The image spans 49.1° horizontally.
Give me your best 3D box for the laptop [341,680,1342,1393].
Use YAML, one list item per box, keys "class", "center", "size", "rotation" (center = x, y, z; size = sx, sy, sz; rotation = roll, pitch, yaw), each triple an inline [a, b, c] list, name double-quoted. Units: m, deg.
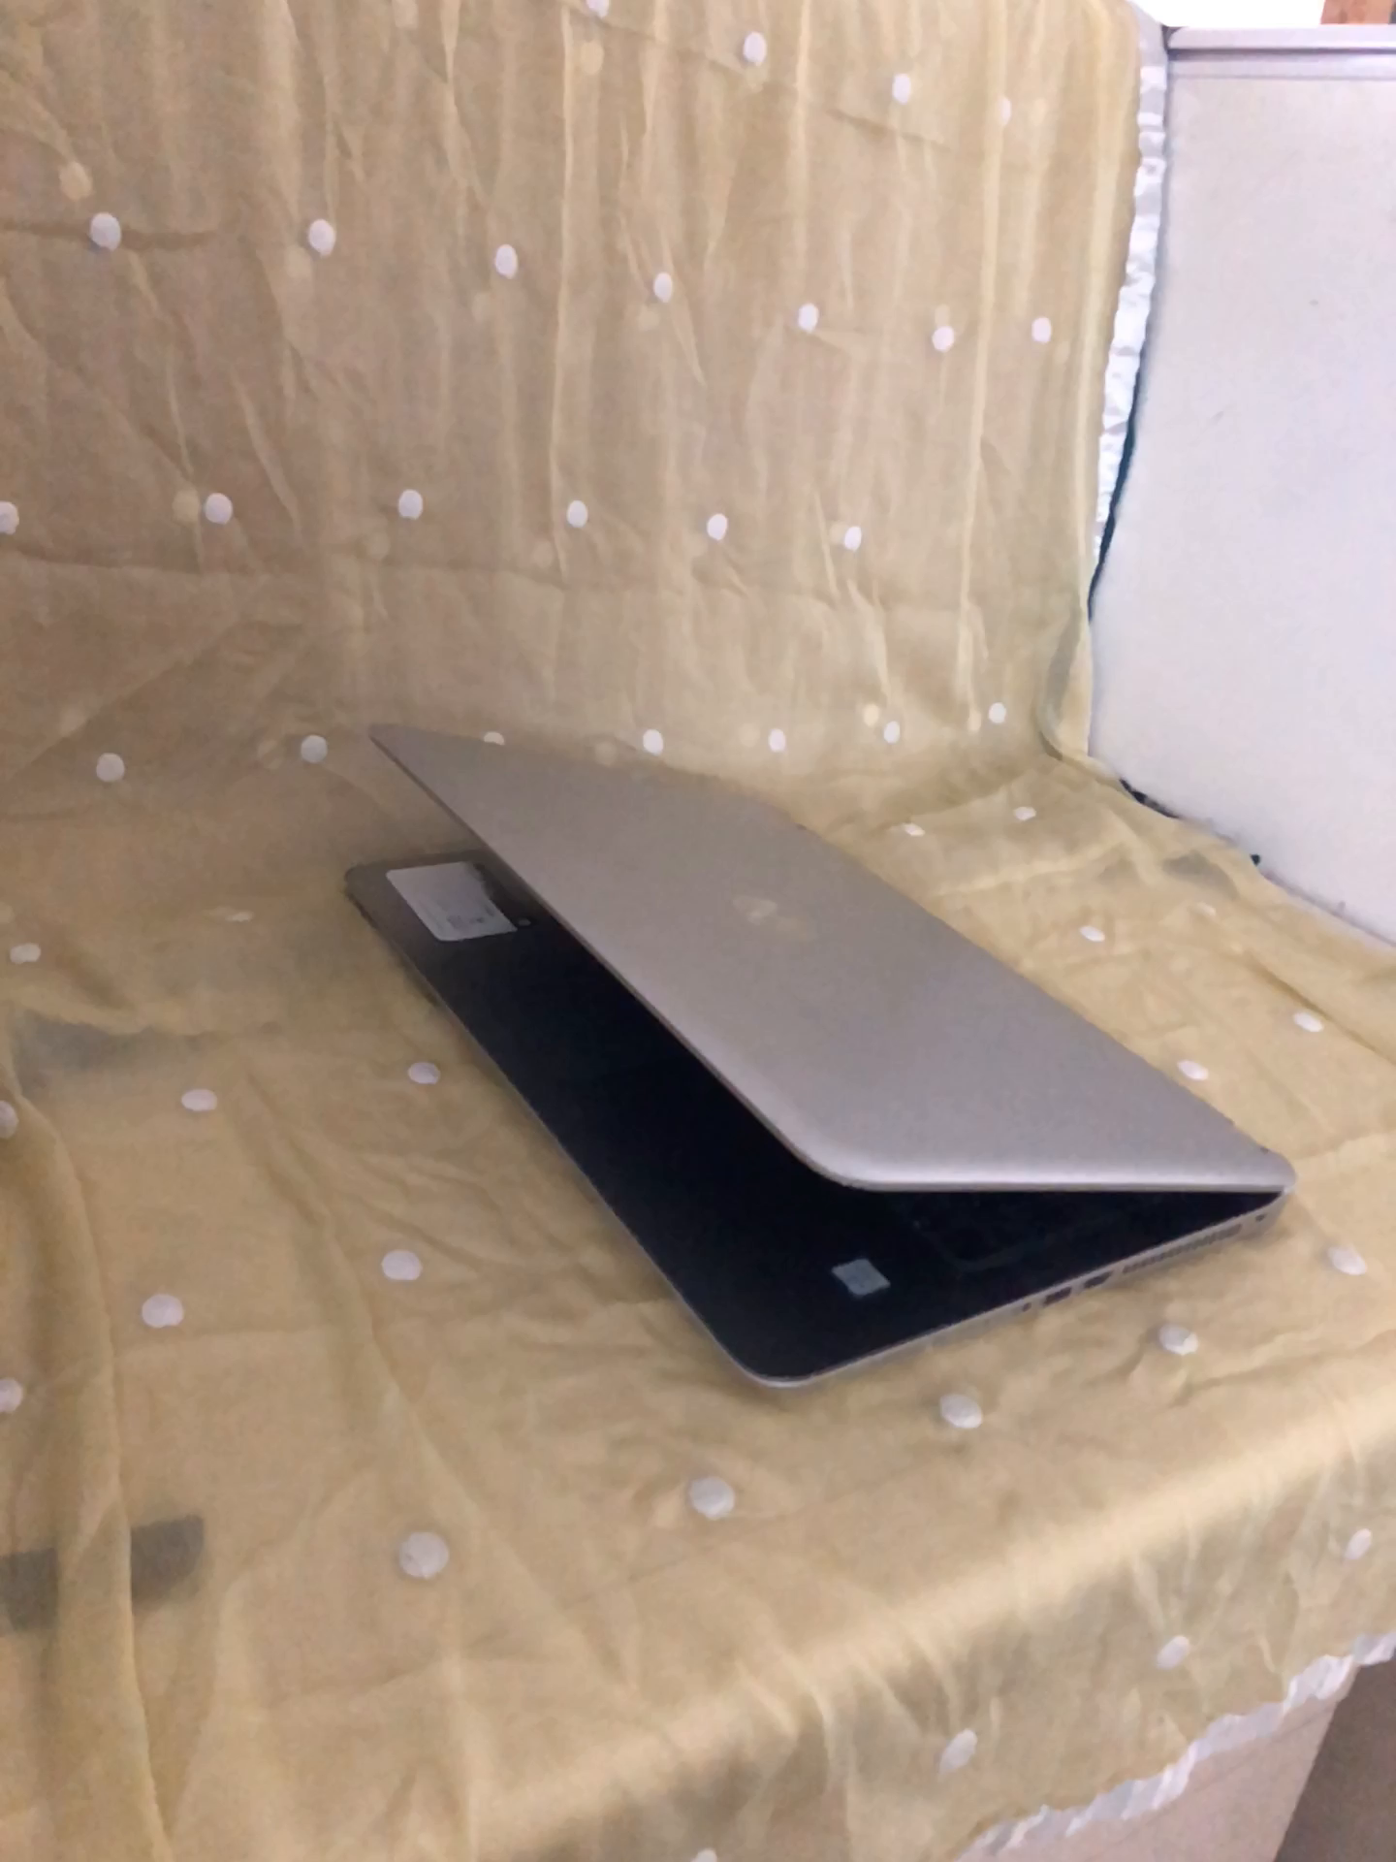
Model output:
- class: "laptop"
  center: [0.032, 0.001, 0.636]
  size: [0.243, 0.077, 0.367]
  rotation: [-10, 32, -31]
